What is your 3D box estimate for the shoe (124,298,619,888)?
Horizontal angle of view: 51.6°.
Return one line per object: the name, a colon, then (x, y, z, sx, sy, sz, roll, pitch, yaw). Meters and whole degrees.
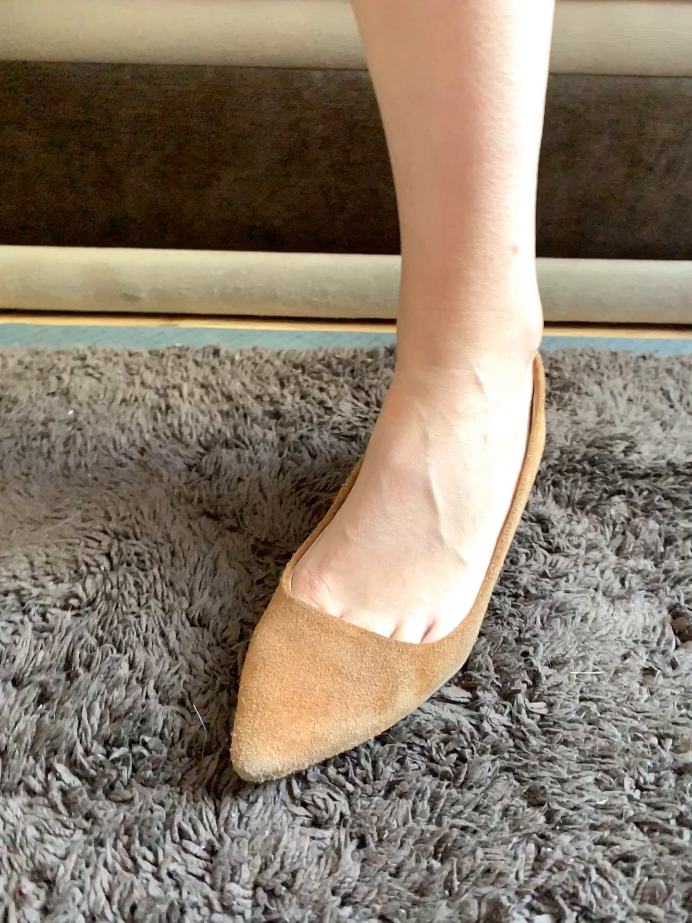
shoe: (0.034, 0.021, 0.302, 0.090, 0.080, 0.251, 18, 39, 22)
